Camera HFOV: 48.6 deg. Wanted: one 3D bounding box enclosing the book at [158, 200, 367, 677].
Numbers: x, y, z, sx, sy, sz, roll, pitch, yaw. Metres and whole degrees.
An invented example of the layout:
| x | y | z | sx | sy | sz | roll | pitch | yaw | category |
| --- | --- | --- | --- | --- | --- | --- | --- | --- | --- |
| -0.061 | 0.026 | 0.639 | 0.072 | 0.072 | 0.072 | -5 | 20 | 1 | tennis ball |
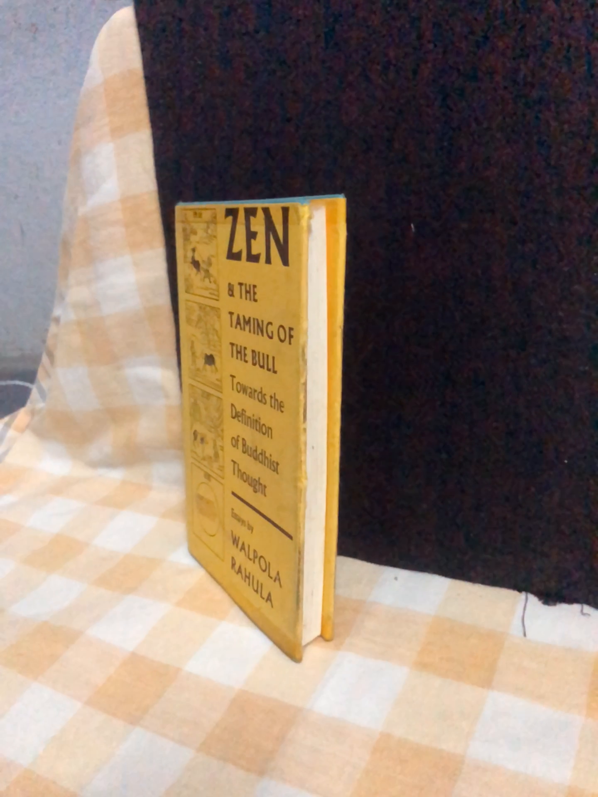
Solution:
| x | y | z | sx | sy | sz | roll | pitch | yaw | category |
| --- | --- | --- | --- | --- | --- | --- | --- | --- | --- |
| -0.025 | 0.008 | 0.339 | 0.030 | 0.209 | 0.140 | -10 | 19 | -32 | book |
